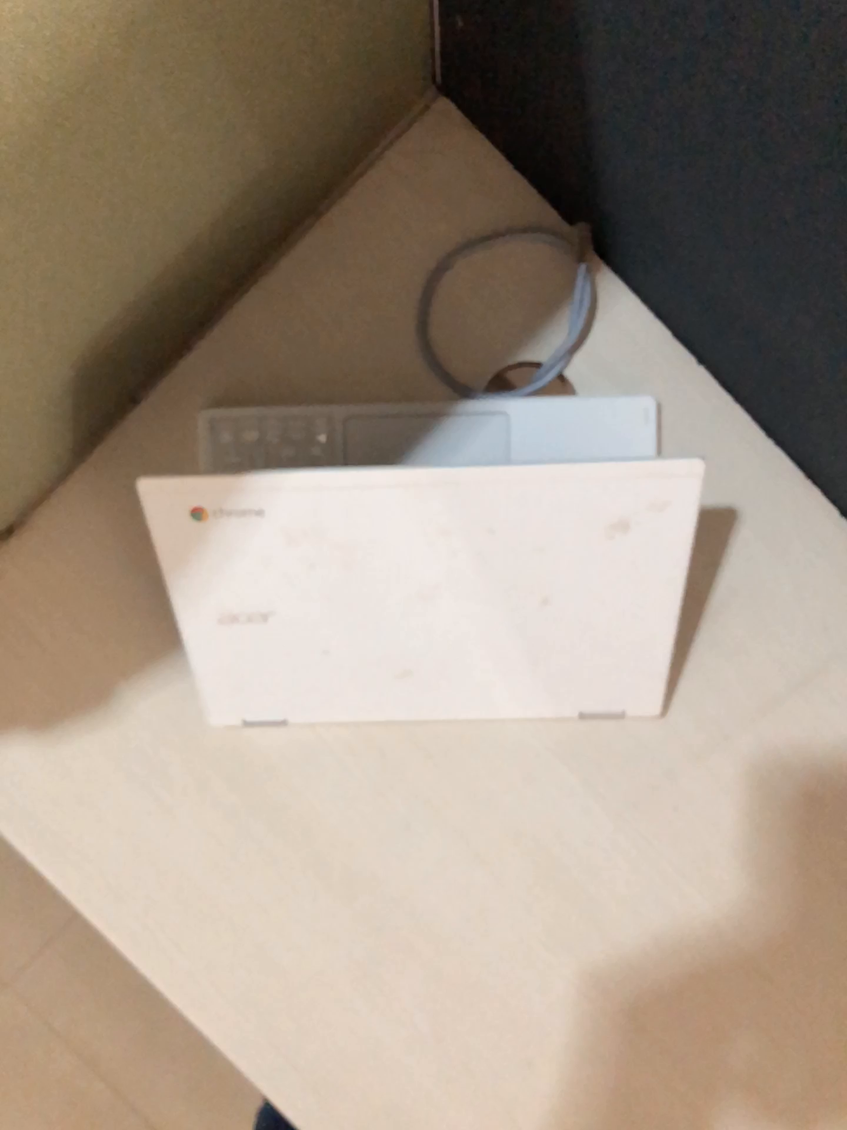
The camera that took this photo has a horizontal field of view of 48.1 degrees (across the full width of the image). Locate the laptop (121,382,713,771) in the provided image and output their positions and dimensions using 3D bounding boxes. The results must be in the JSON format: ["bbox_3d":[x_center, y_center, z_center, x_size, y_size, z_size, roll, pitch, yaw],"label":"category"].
[{"bbox_3d":[-0.001,0.006,0.525,0.285,0.115,0.187,-1,96,3],"label":"laptop"}]
